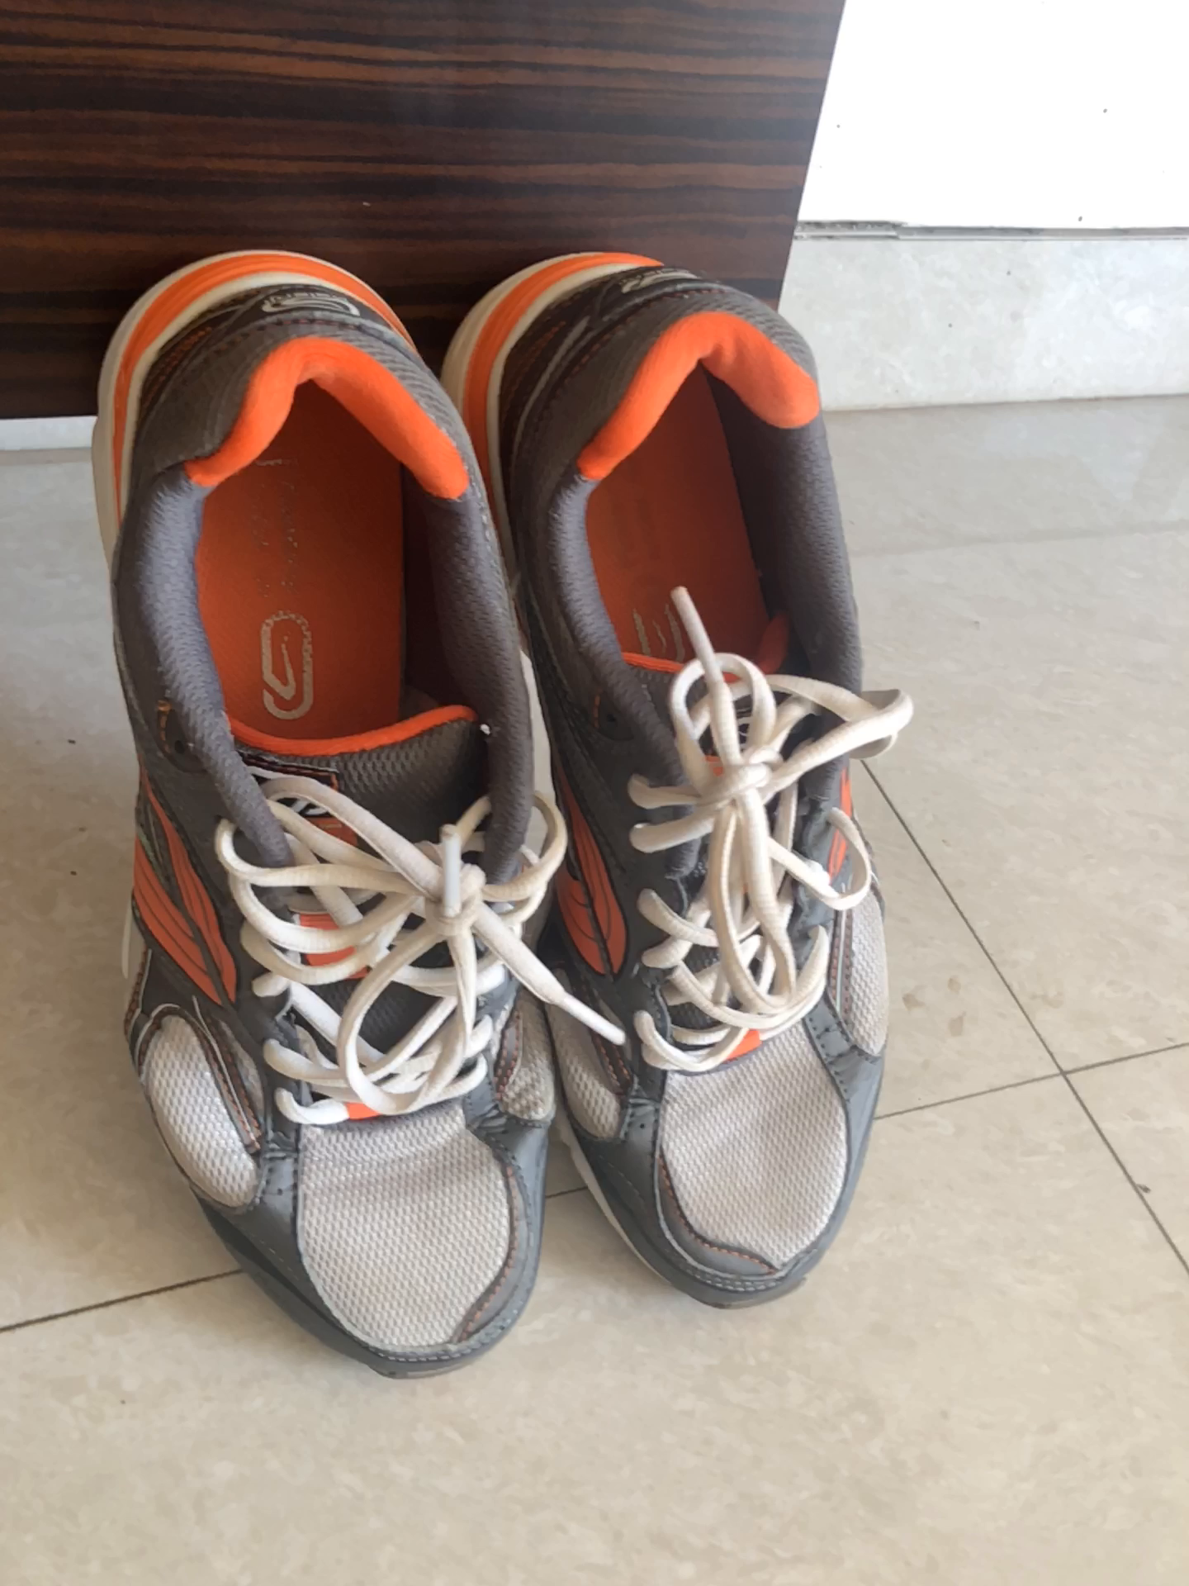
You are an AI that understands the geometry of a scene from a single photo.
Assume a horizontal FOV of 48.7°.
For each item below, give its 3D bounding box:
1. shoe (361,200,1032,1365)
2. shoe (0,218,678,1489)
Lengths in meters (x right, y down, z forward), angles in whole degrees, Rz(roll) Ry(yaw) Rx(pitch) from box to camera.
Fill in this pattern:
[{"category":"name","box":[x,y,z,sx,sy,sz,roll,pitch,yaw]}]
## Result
[{"category":"shoe","box":[0.025,-0.007,0.347,0.120,0.259,0.110,-11,22,-16]},{"category":"shoe","box":[-0.059,0.009,0.322,0.120,0.269,0.100,-13,25,-23]}]
